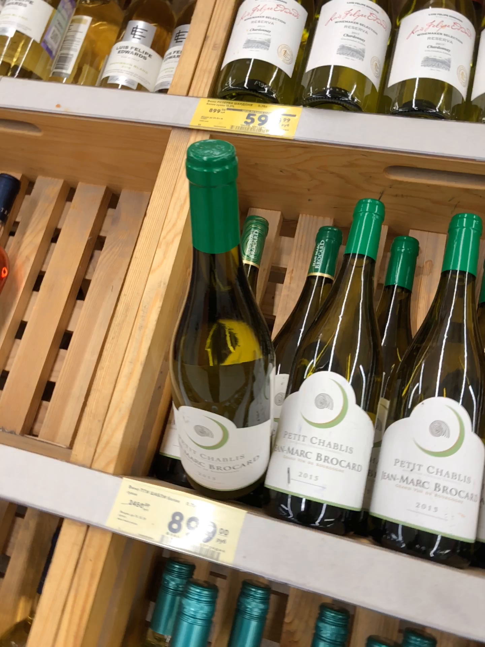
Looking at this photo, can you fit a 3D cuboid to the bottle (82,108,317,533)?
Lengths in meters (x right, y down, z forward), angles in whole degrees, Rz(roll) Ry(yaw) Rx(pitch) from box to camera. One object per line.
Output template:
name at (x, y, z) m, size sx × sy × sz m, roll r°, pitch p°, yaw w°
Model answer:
bottle at (-0.017, 0.019, 0.369) m, size 0.090 × 0.288 × 0.090 m, roll 0°, pitch 42°, yaw 0°
